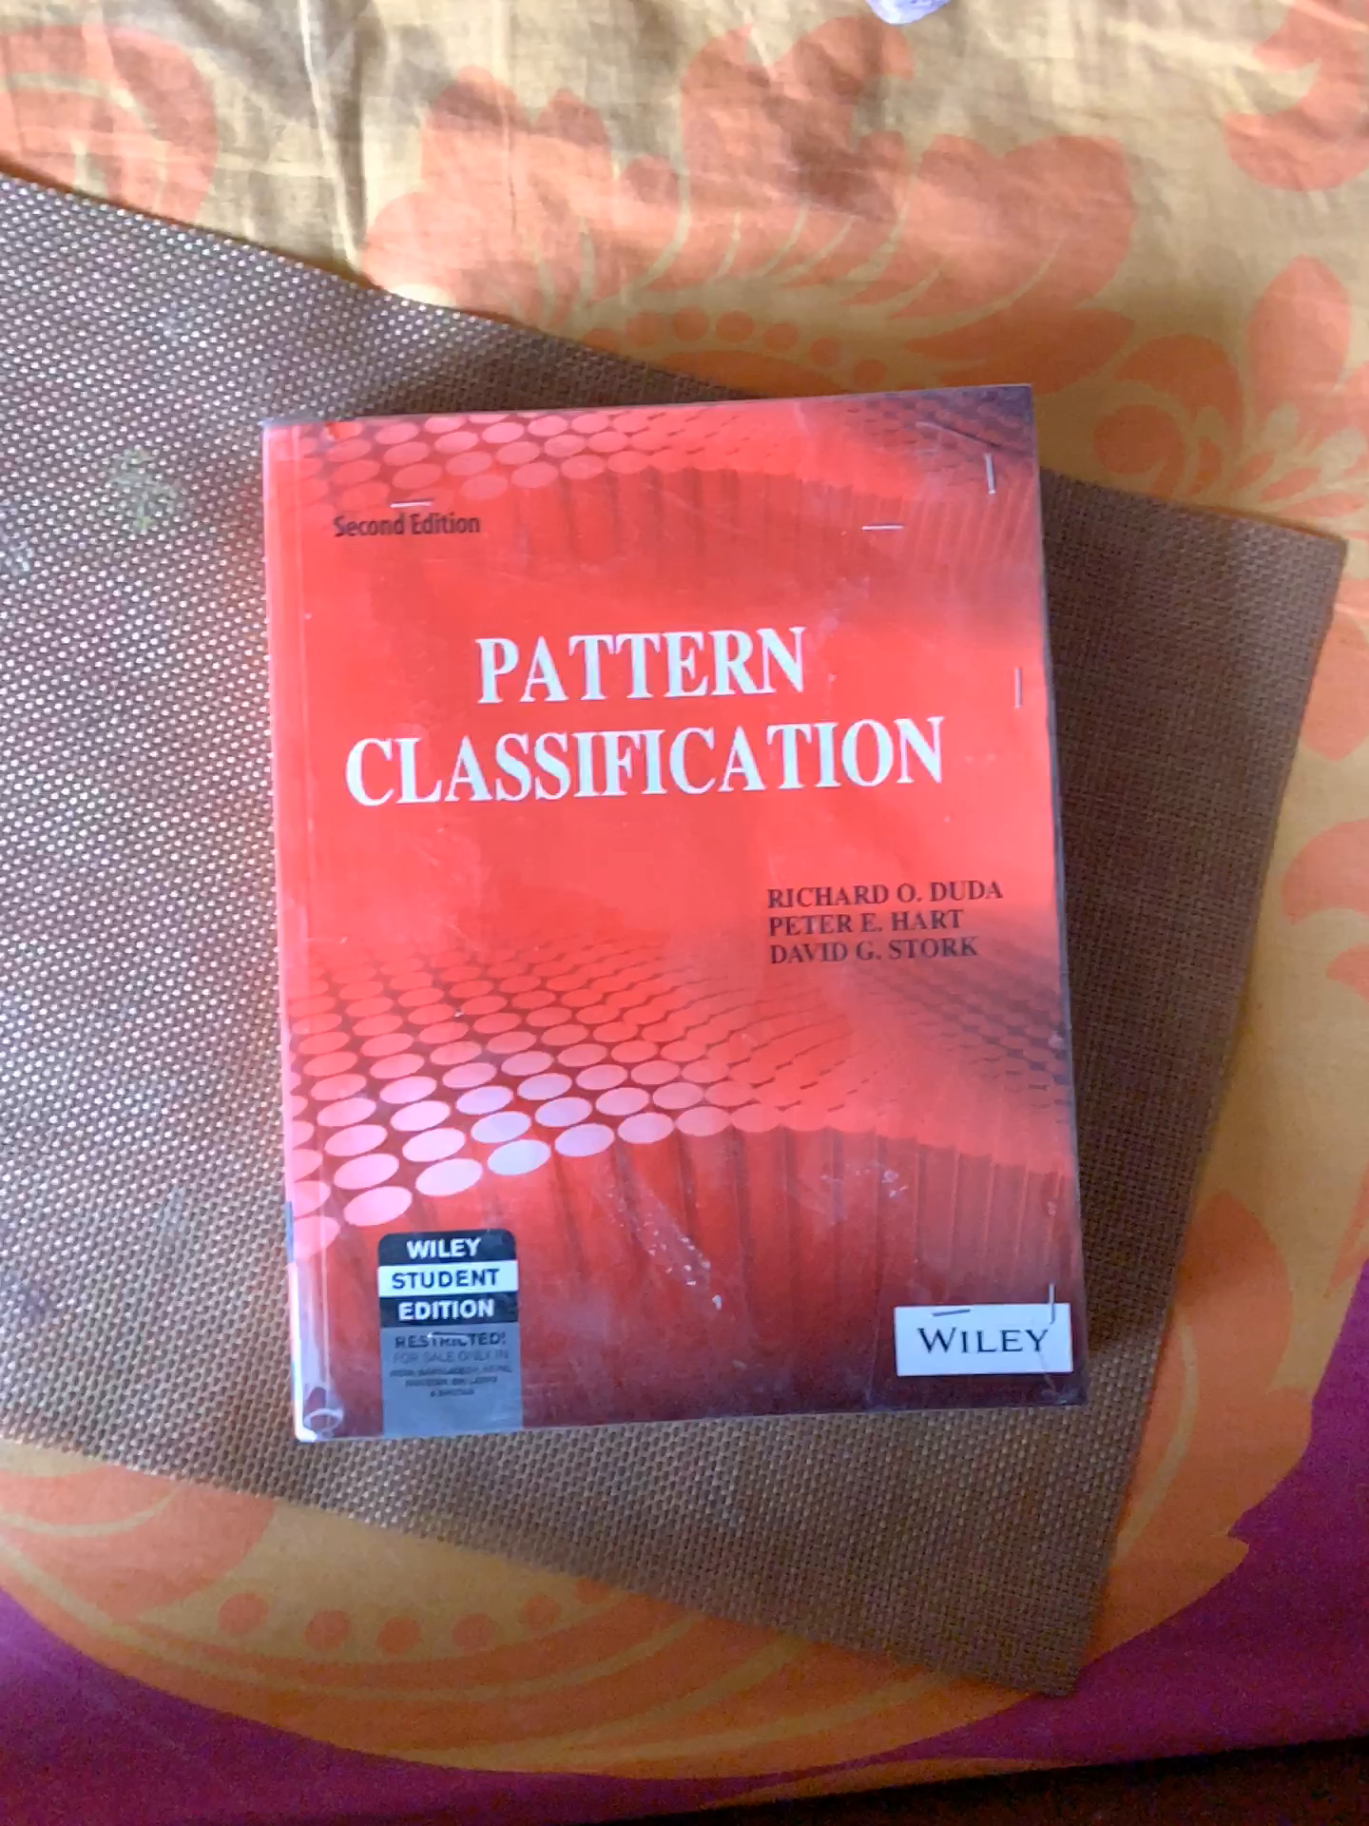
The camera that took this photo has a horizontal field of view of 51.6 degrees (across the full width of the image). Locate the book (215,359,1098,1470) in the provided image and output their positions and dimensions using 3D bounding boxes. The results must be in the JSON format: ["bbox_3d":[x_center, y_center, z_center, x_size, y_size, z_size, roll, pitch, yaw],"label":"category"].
[{"bbox_3d":[-0.007,-0.002,0.320,0.180,0.040,0.230,-2,88,-2],"label":"book"}]
